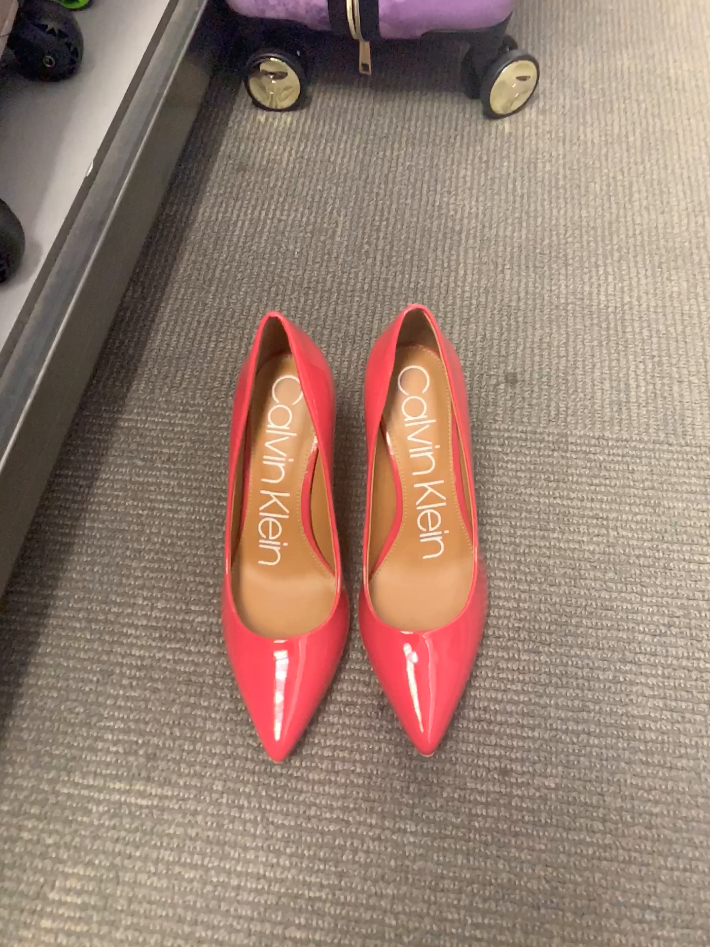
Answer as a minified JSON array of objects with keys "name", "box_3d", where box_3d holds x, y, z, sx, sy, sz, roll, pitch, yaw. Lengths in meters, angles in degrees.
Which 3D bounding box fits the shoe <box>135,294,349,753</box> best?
[{"name":"shoe","box_3d":[-0.045,0.029,0.386,0.074,0.130,0.209,-1,61,3]}]

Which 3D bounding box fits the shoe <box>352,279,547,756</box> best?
[{"name":"shoe","box_3d":[0.039,0.024,0.378,0.073,0.121,0.217,-1,61,3]}]
